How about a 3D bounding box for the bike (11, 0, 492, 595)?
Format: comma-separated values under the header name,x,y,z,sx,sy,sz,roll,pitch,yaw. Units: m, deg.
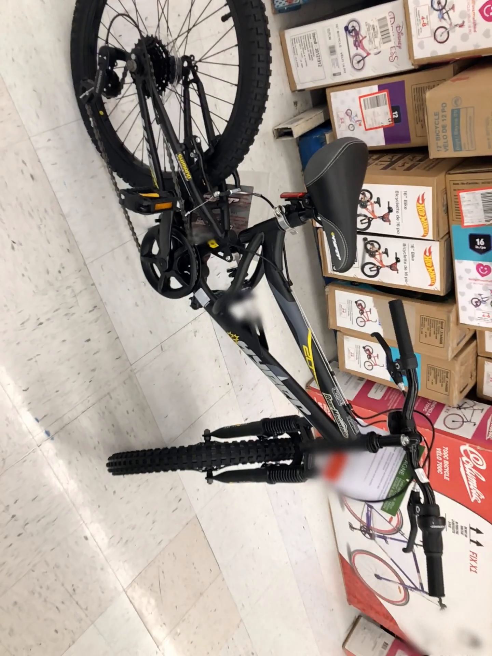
name,x,y,z,sx,sy,sz,roll,pitch,yaw
bike,0.204,-0.188,1.208,0.525,0.849,1.260,-34,120,-38
